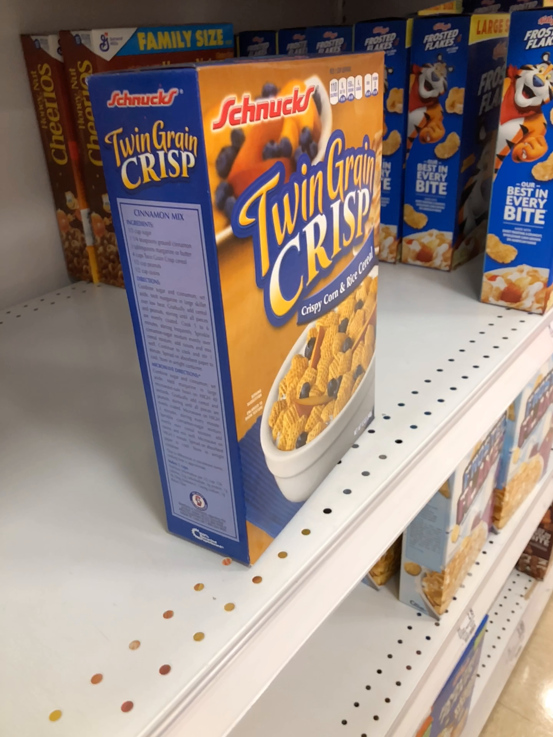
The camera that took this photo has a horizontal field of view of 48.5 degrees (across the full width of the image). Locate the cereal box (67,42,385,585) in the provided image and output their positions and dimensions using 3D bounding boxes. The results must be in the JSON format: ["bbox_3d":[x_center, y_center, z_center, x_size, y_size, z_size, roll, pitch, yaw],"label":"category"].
[{"bbox_3d":[-0.005,-0.048,0.404,0.070,0.289,0.210,12,31,27],"label":"cereal box"}]
